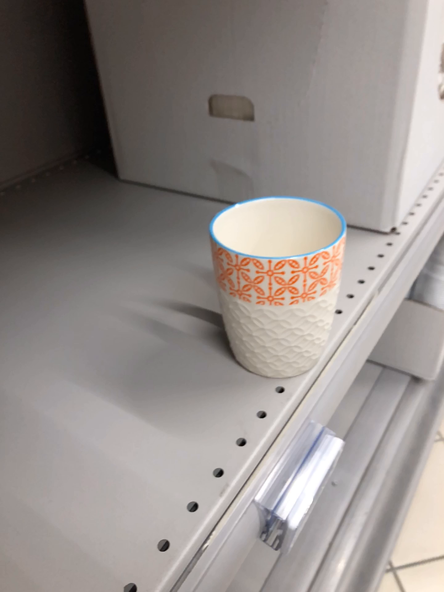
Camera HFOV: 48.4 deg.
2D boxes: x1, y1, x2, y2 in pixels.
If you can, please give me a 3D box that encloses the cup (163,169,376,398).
[{"bbox_3d":[0.027,-0.016,0.348,0.091,0.095,0.117,-18,37,-20],"label":"cup"}]
